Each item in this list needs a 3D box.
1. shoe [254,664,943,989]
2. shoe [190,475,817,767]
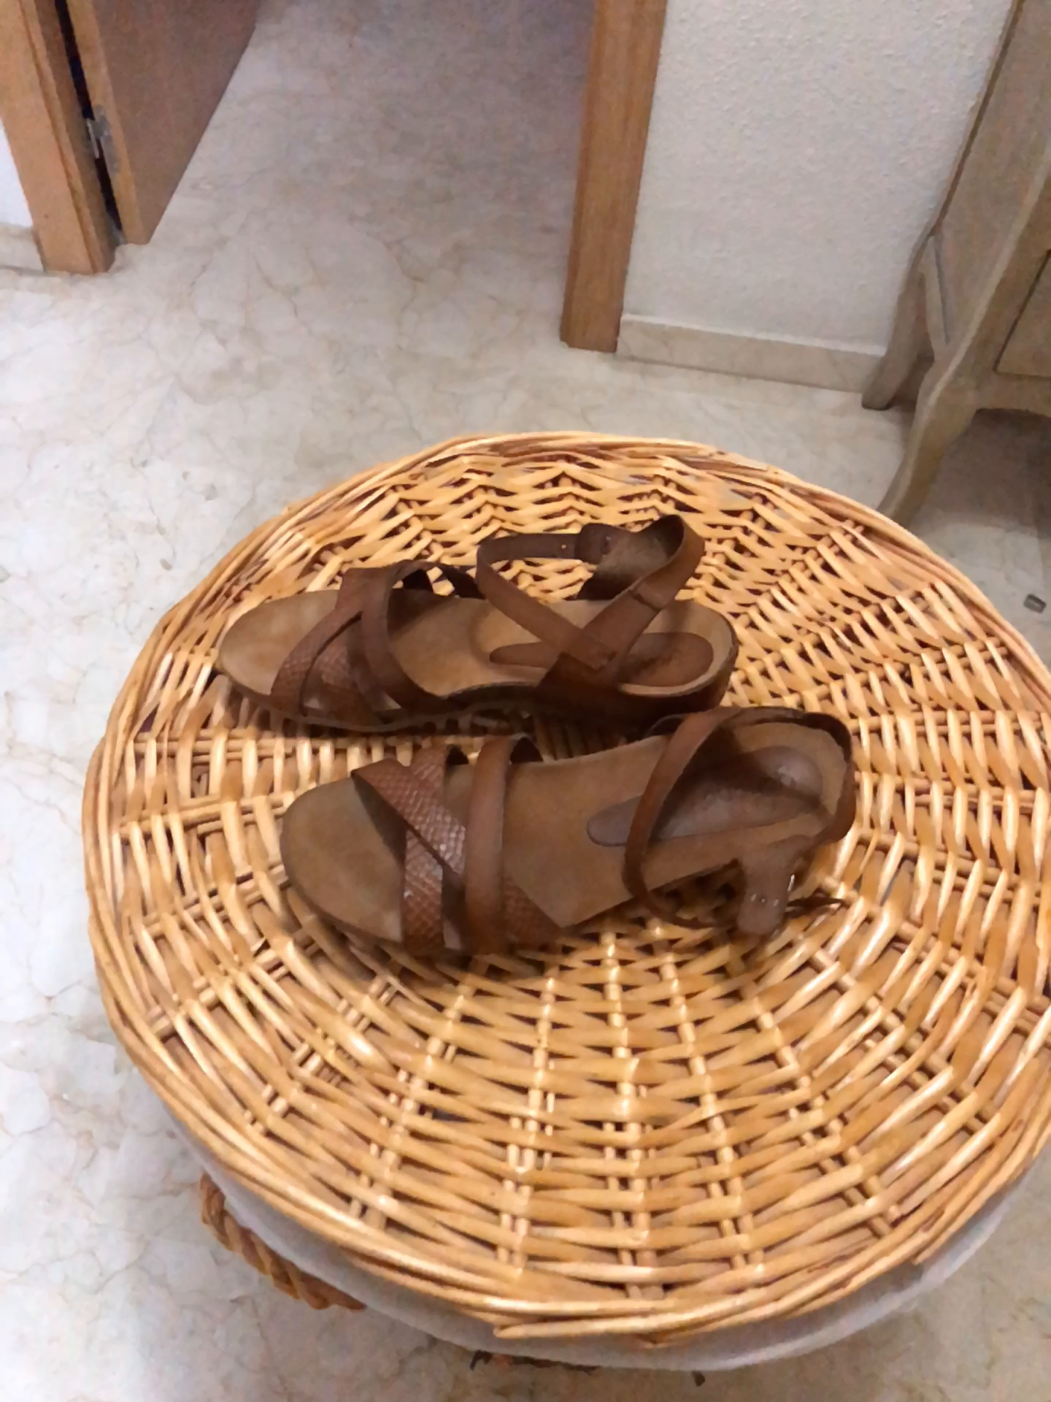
[{"bbox_3d":[0.026,0.053,0.517,0.280,0.060,0.100,-5,54,-8],"label":"shoe"},{"bbox_3d":[-0.006,-0.043,0.569,0.280,0.070,0.100,5,53,10],"label":"shoe"}]
